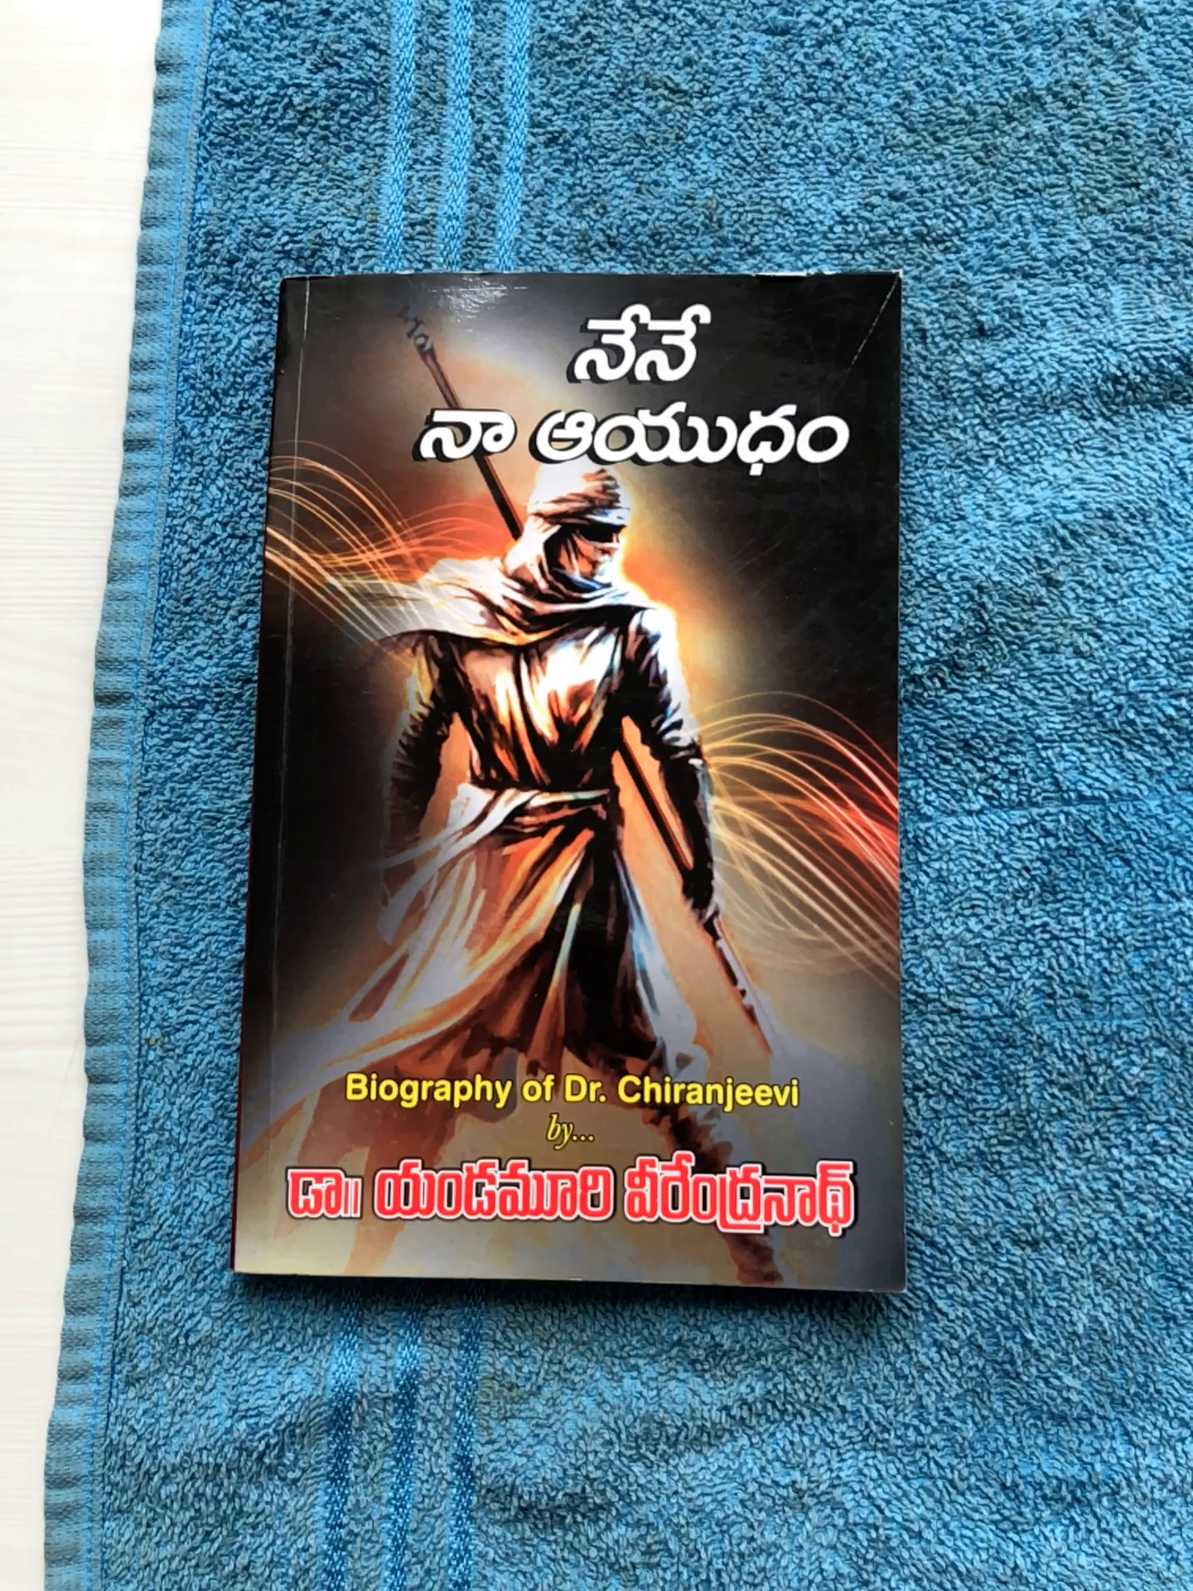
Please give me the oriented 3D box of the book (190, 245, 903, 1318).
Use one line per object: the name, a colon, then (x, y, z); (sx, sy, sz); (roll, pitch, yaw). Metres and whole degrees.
book: (-0.007, -0.006, 0.290); (0.140, 0.030, 0.220); (1, 83, 0)
